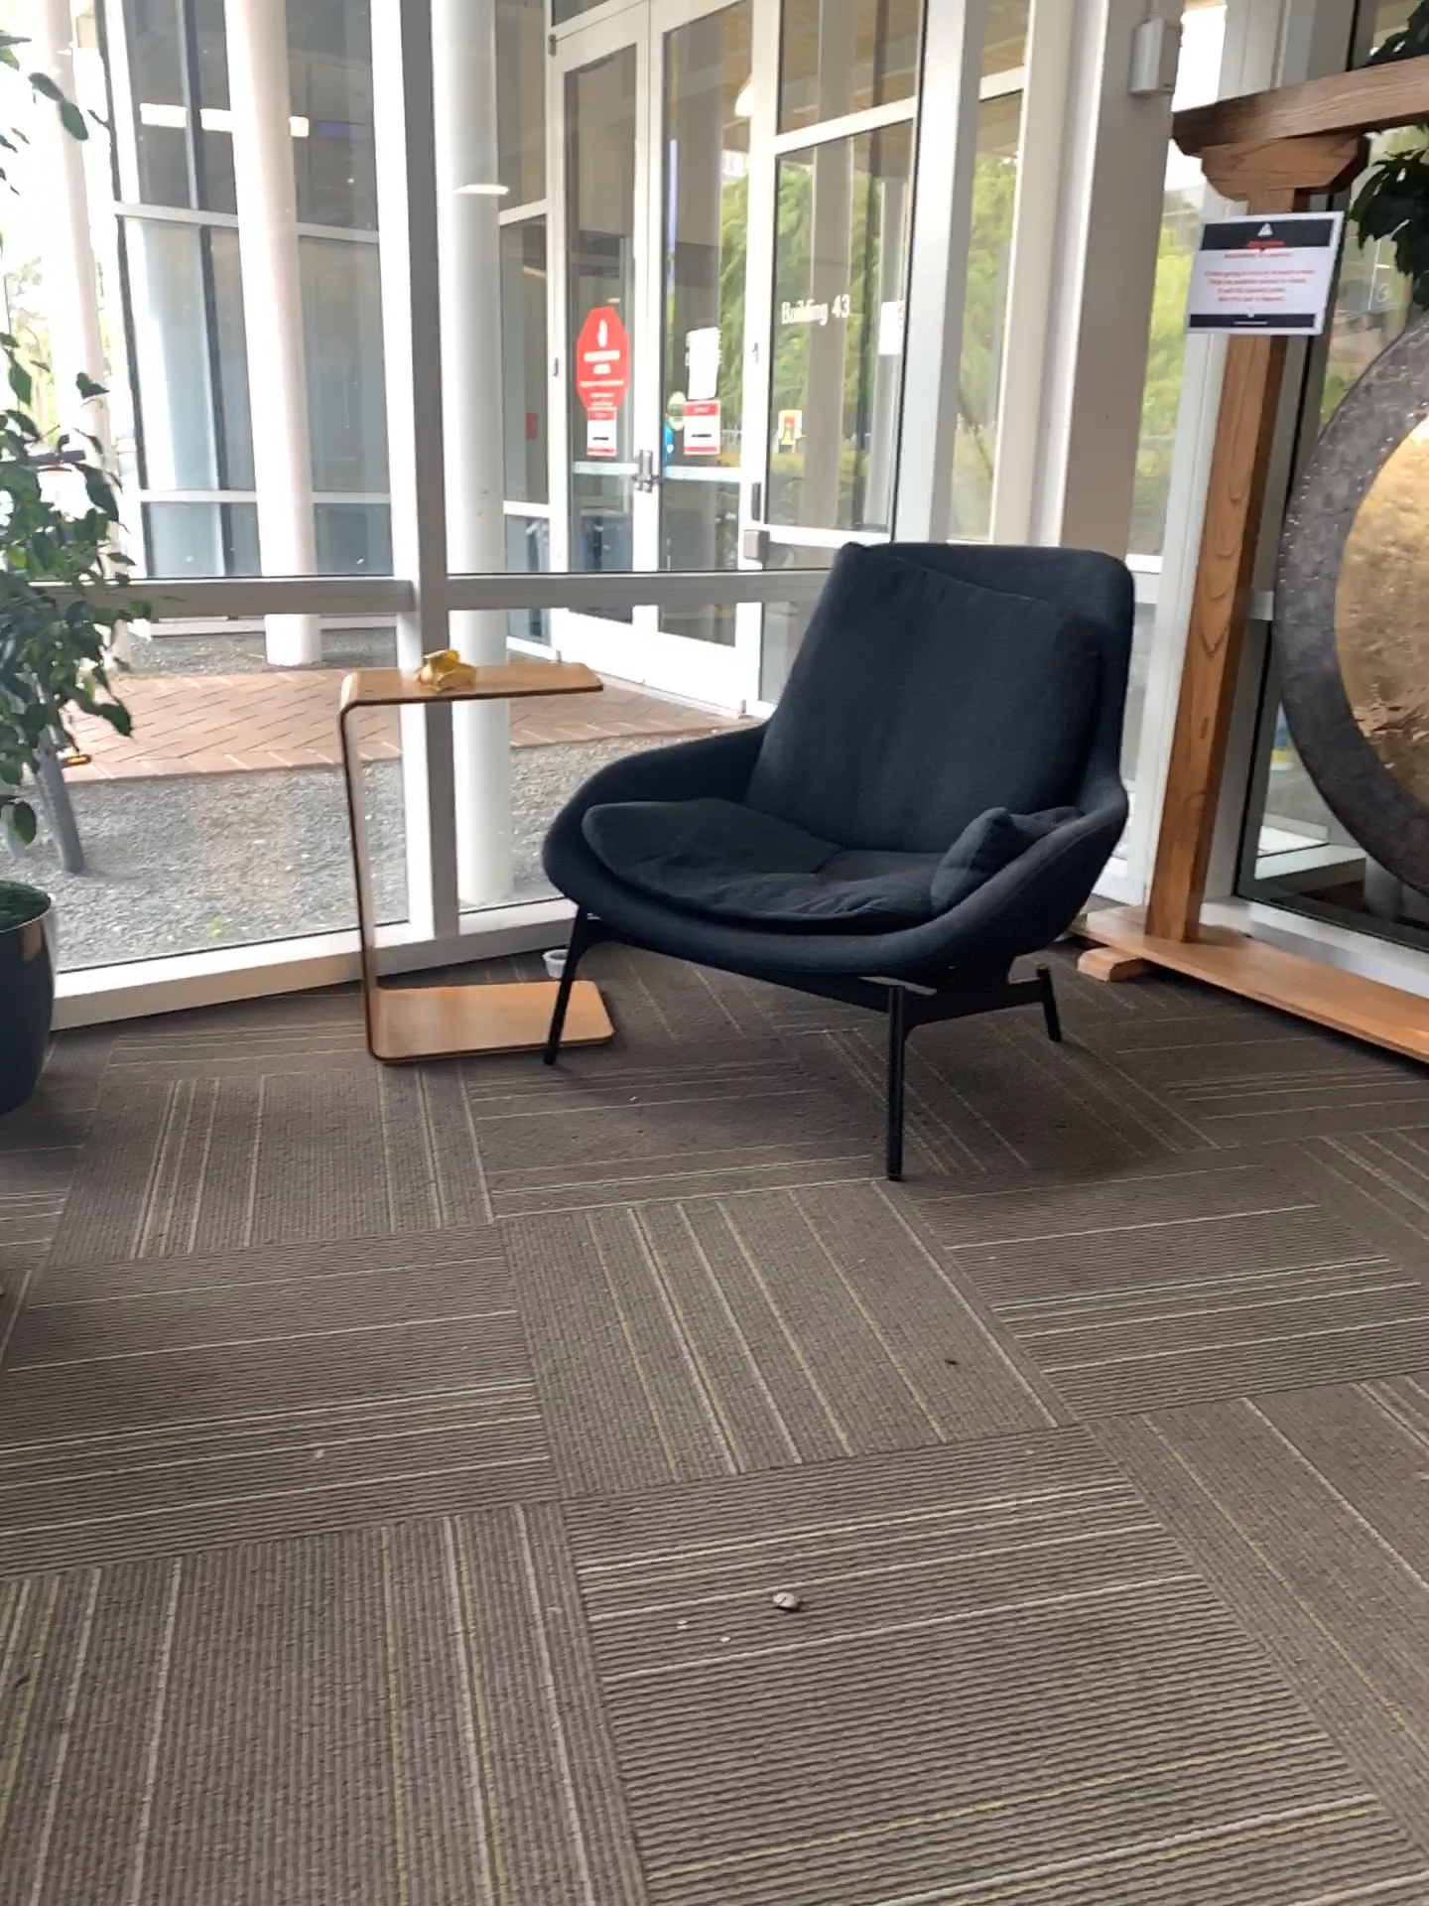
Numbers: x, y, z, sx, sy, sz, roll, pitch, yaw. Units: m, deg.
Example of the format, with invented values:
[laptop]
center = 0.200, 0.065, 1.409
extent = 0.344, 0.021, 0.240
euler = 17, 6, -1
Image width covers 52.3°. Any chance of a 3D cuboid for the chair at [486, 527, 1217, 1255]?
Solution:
[chair]
center = 0.253, -0.228, 2.638
extent = 0.902, 0.995, 0.942
euler = 13, 21, 33
